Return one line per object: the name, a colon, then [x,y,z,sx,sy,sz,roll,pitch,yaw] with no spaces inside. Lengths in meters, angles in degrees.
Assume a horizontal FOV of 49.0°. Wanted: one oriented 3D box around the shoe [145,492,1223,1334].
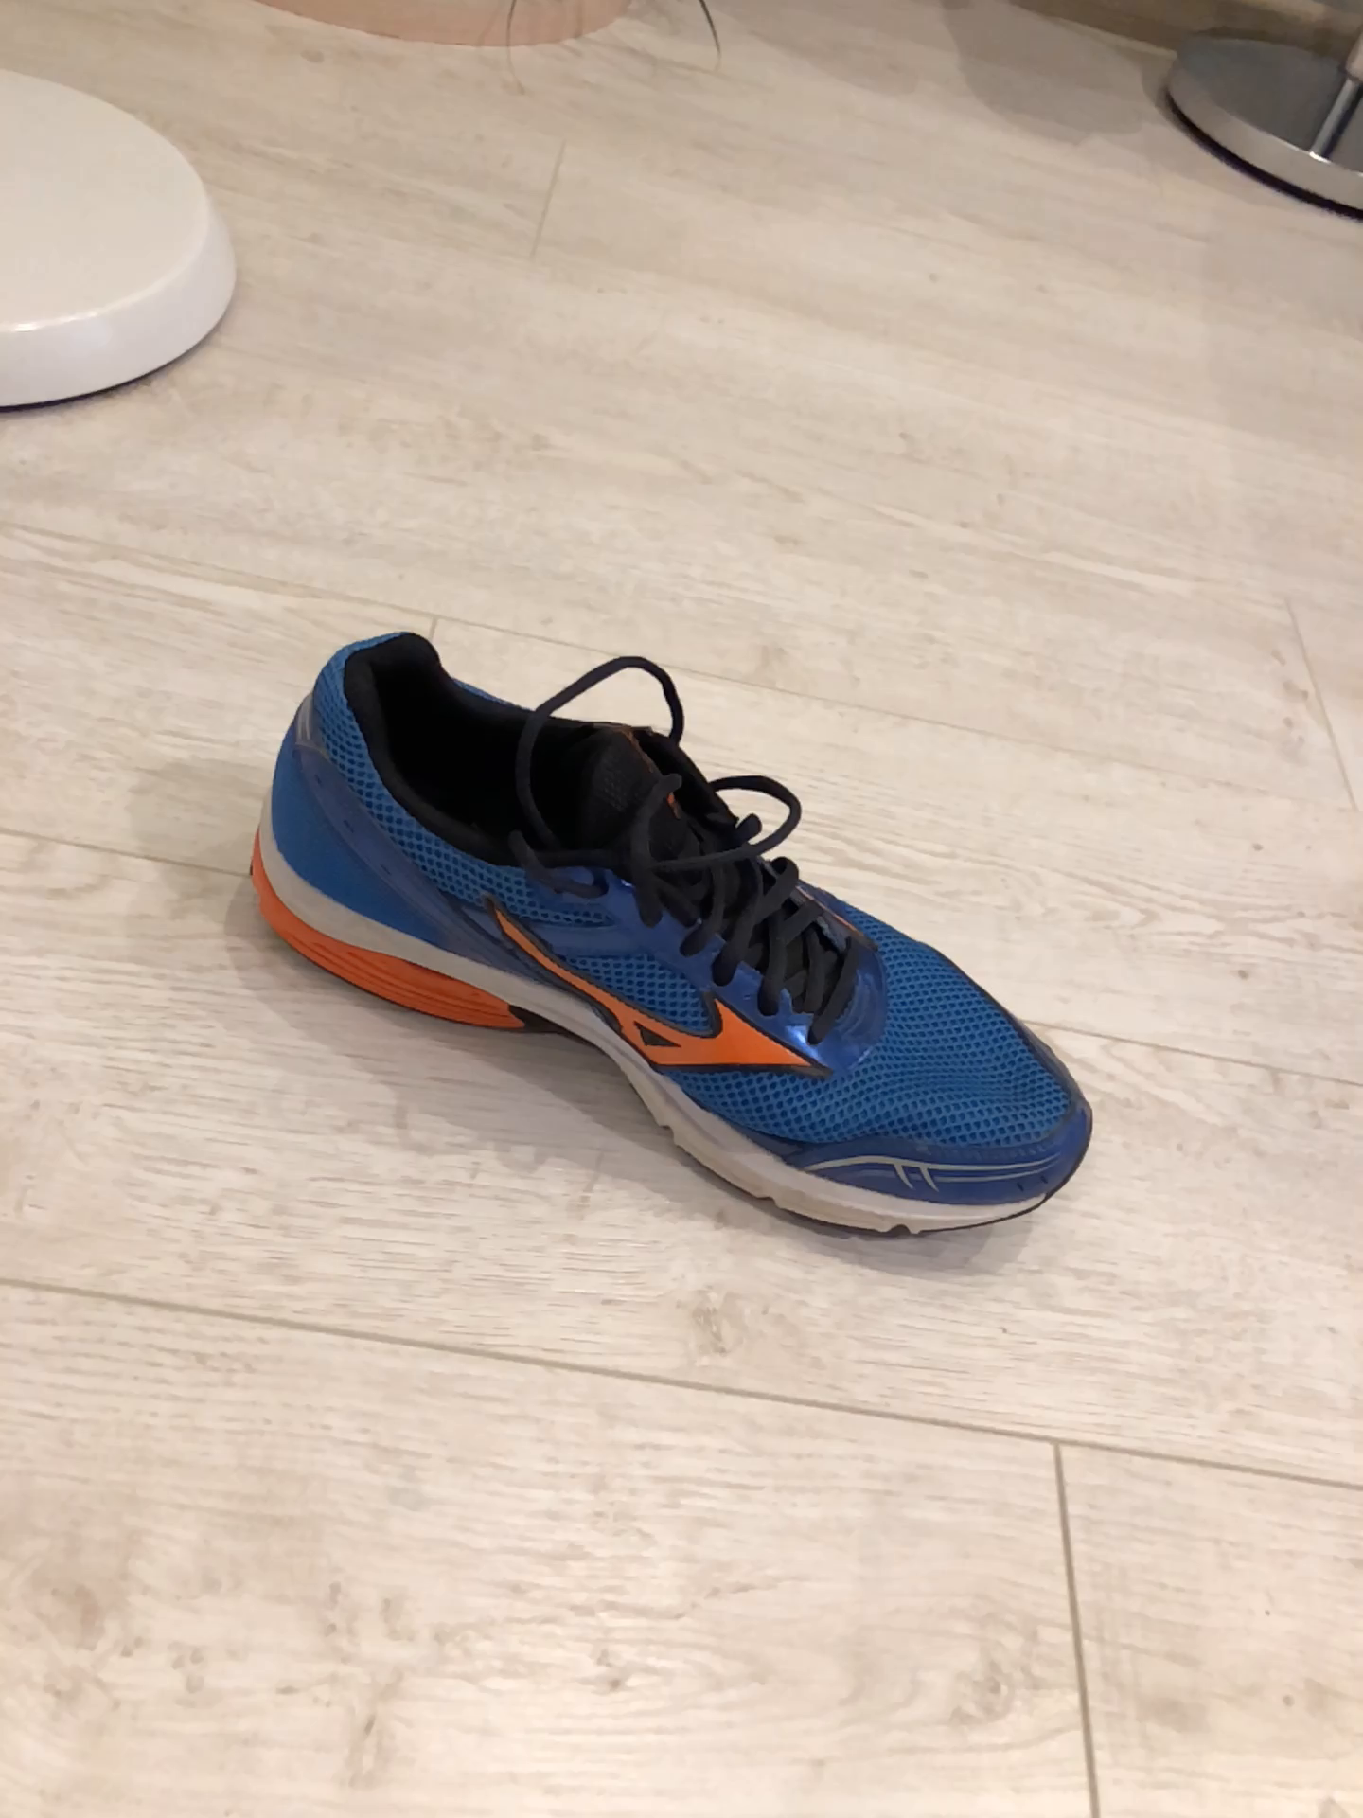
shoe: [-0.002,0.000,0.479,0.300,0.119,0.117,23,48,4]
